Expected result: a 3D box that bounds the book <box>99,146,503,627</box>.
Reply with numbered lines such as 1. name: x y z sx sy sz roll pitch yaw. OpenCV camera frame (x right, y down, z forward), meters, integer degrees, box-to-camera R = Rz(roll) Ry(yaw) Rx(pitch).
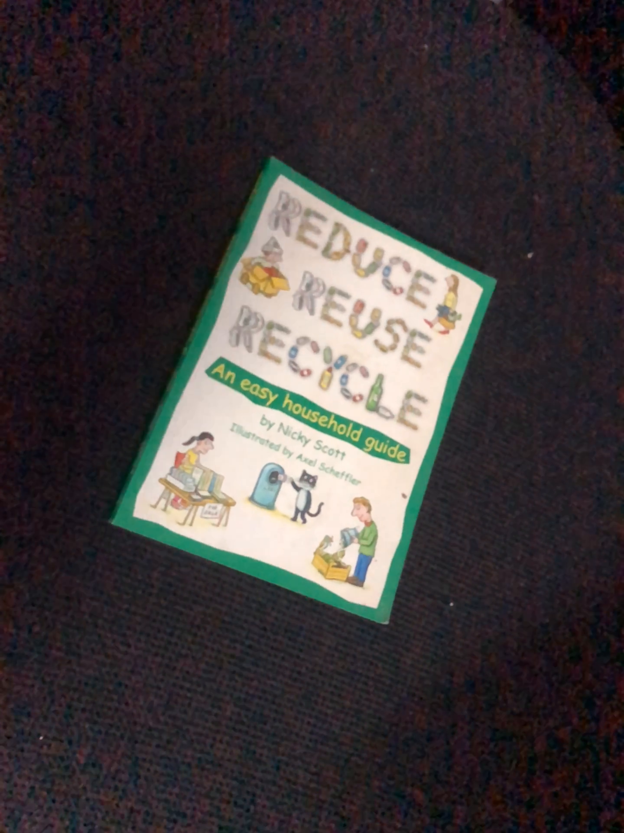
1. book: 0.004 -0.013 0.310 0.130 0.018 0.173 24 75 -15
